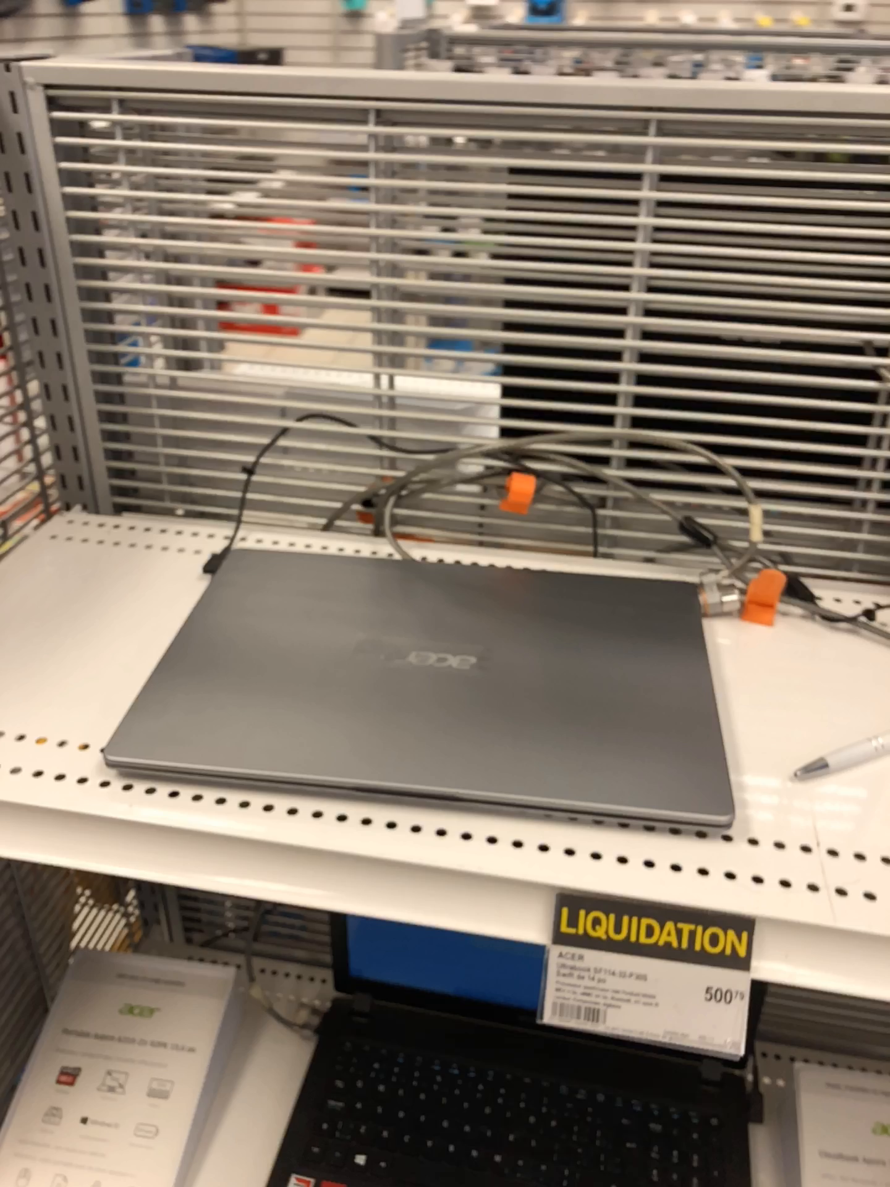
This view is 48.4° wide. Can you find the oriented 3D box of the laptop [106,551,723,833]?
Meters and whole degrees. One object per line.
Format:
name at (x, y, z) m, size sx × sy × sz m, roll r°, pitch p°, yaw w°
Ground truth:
laptop at (-0.007, 0.044, 0.593) m, size 0.316 × 0.006 × 0.220 m, roll 4°, pitch 33°, yaw 7°
